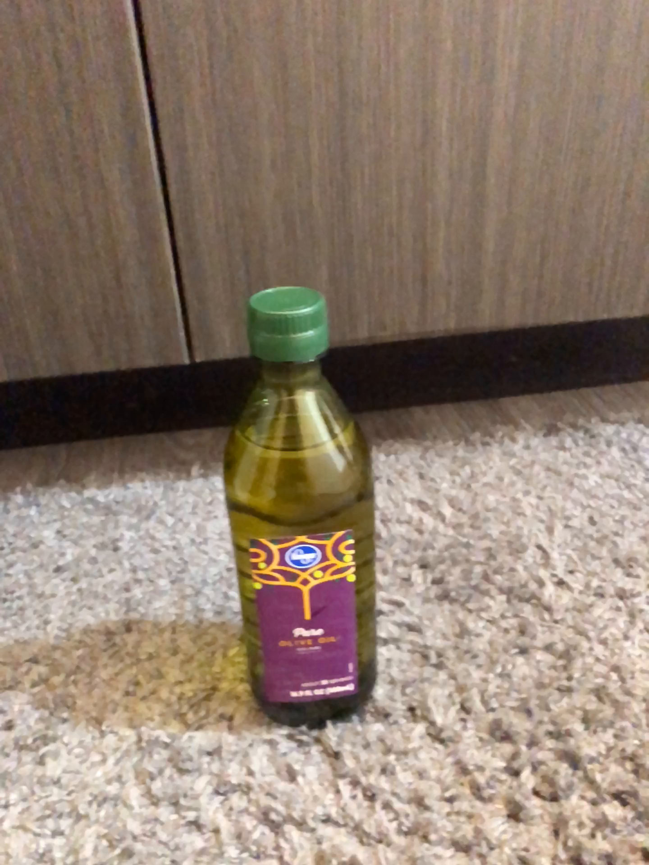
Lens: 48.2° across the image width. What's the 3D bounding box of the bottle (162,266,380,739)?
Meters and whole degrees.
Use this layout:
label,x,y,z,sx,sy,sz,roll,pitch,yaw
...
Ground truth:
label,x,y,z,sx,sy,sz,roll,pitch,yaw
bottle,-0.013,0.041,0.316,0.070,0.209,0.060,-2,32,2
